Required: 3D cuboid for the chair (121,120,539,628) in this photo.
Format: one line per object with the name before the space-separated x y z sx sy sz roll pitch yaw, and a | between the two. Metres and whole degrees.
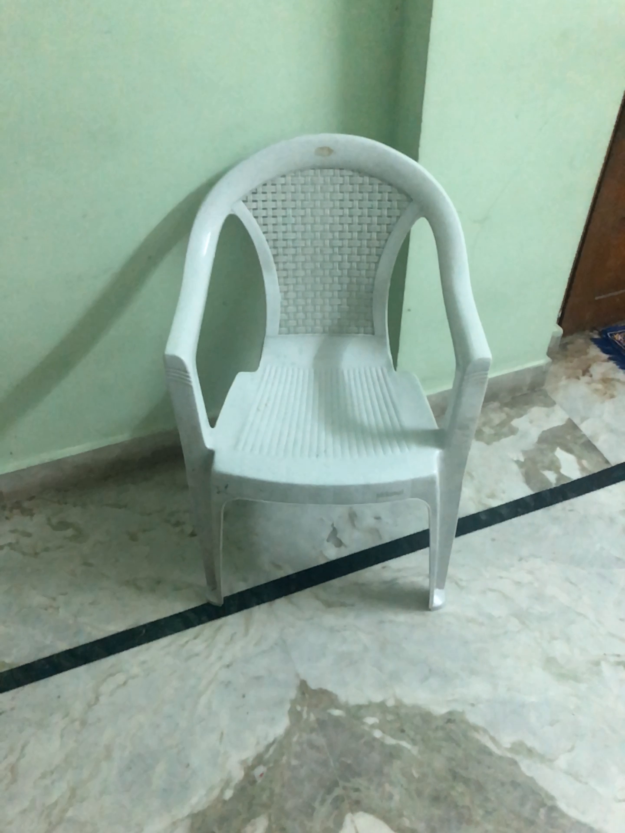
chair | 0.039 -0.055 1.344 0.530 0.825 0.534 2 44 3
